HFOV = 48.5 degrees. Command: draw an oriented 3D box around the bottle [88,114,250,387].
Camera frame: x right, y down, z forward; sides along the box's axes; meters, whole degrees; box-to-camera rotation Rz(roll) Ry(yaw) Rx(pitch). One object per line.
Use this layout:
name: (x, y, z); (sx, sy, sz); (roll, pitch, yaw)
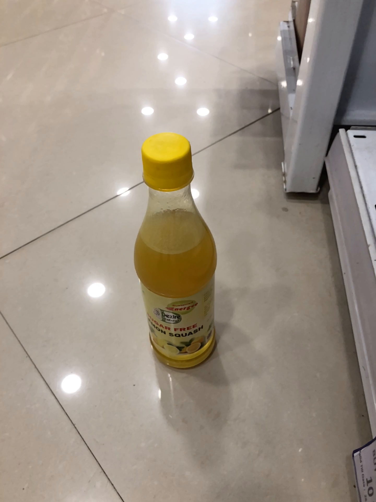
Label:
bottle: (-0.005, 0.017, 0.335); (0.080, 0.229, 0.070); (11, 49, 12)
